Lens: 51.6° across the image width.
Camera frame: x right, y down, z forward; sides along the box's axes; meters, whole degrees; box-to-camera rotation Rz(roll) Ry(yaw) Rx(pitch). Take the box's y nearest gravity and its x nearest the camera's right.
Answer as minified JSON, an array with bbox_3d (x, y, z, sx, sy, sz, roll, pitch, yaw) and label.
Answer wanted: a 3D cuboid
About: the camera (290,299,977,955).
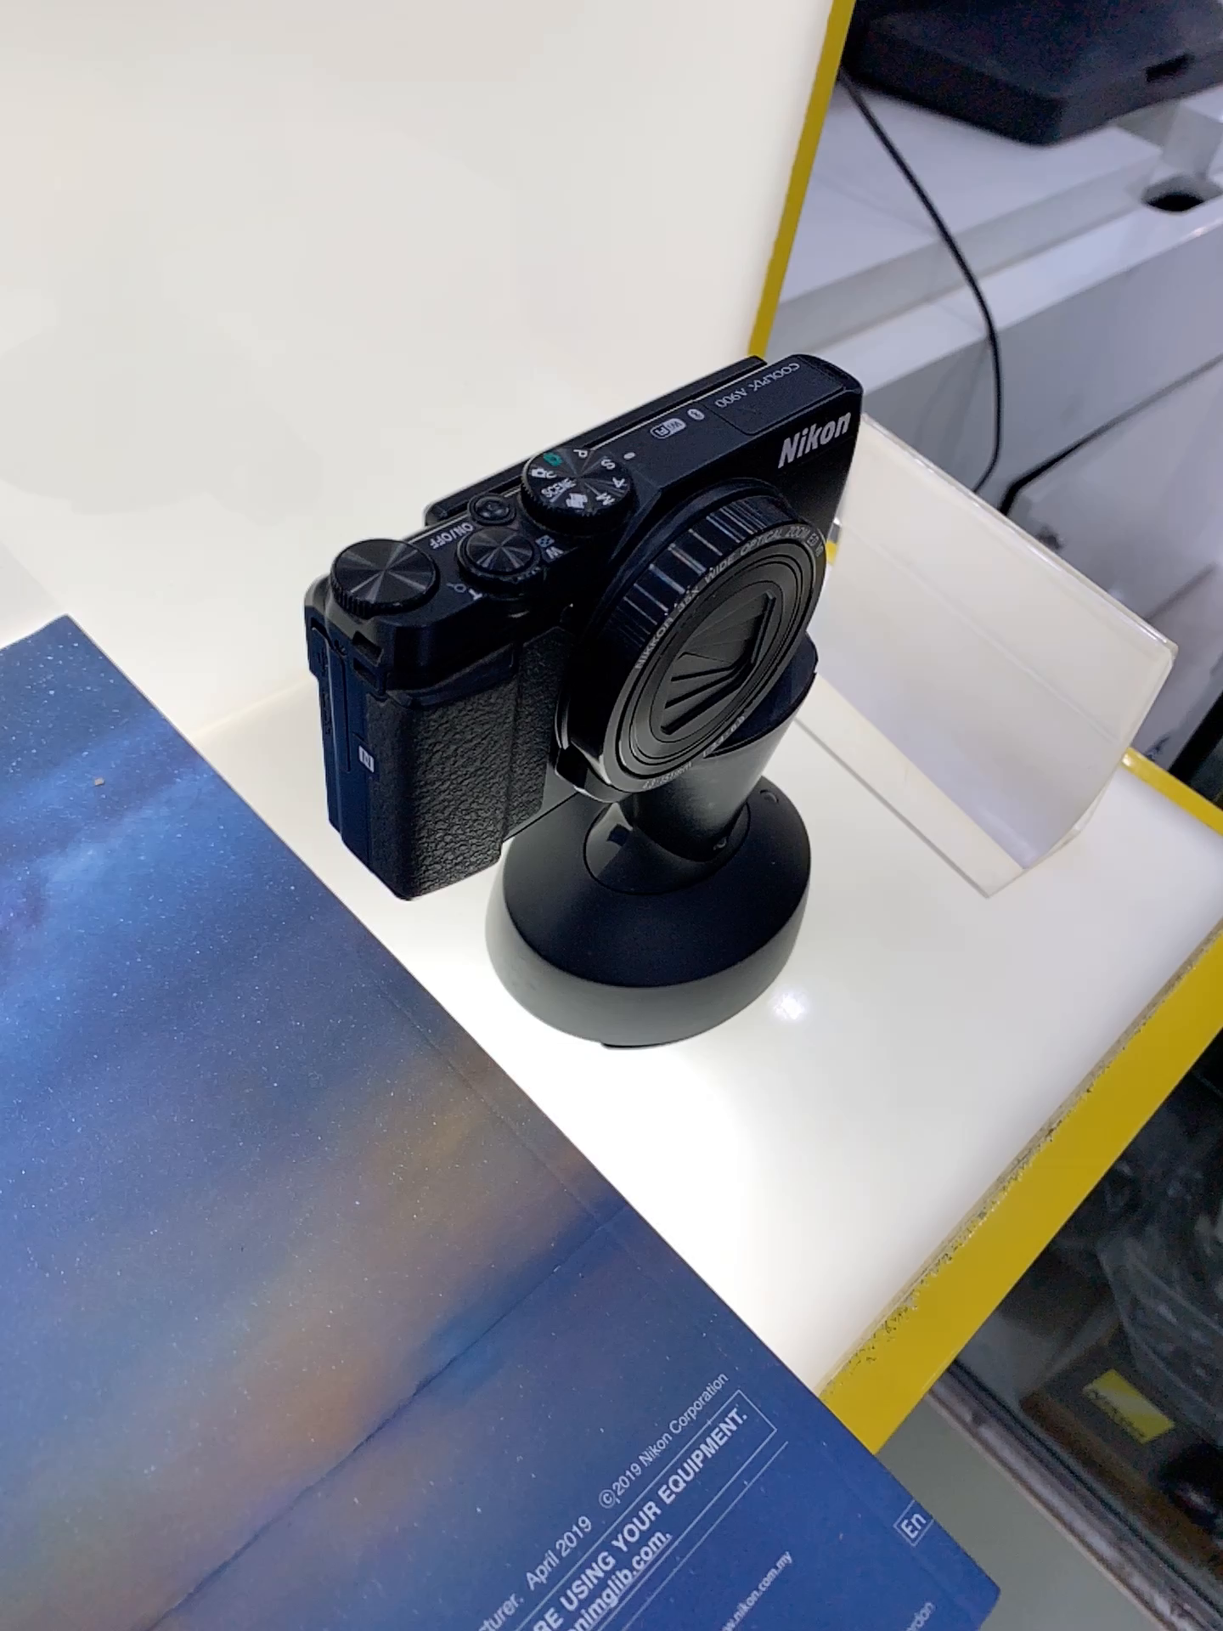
[{"bbox_3d":[0.006,-0.038,0.224,0.040,0.060,0.120,39,54,21],"label":"camera"}]
